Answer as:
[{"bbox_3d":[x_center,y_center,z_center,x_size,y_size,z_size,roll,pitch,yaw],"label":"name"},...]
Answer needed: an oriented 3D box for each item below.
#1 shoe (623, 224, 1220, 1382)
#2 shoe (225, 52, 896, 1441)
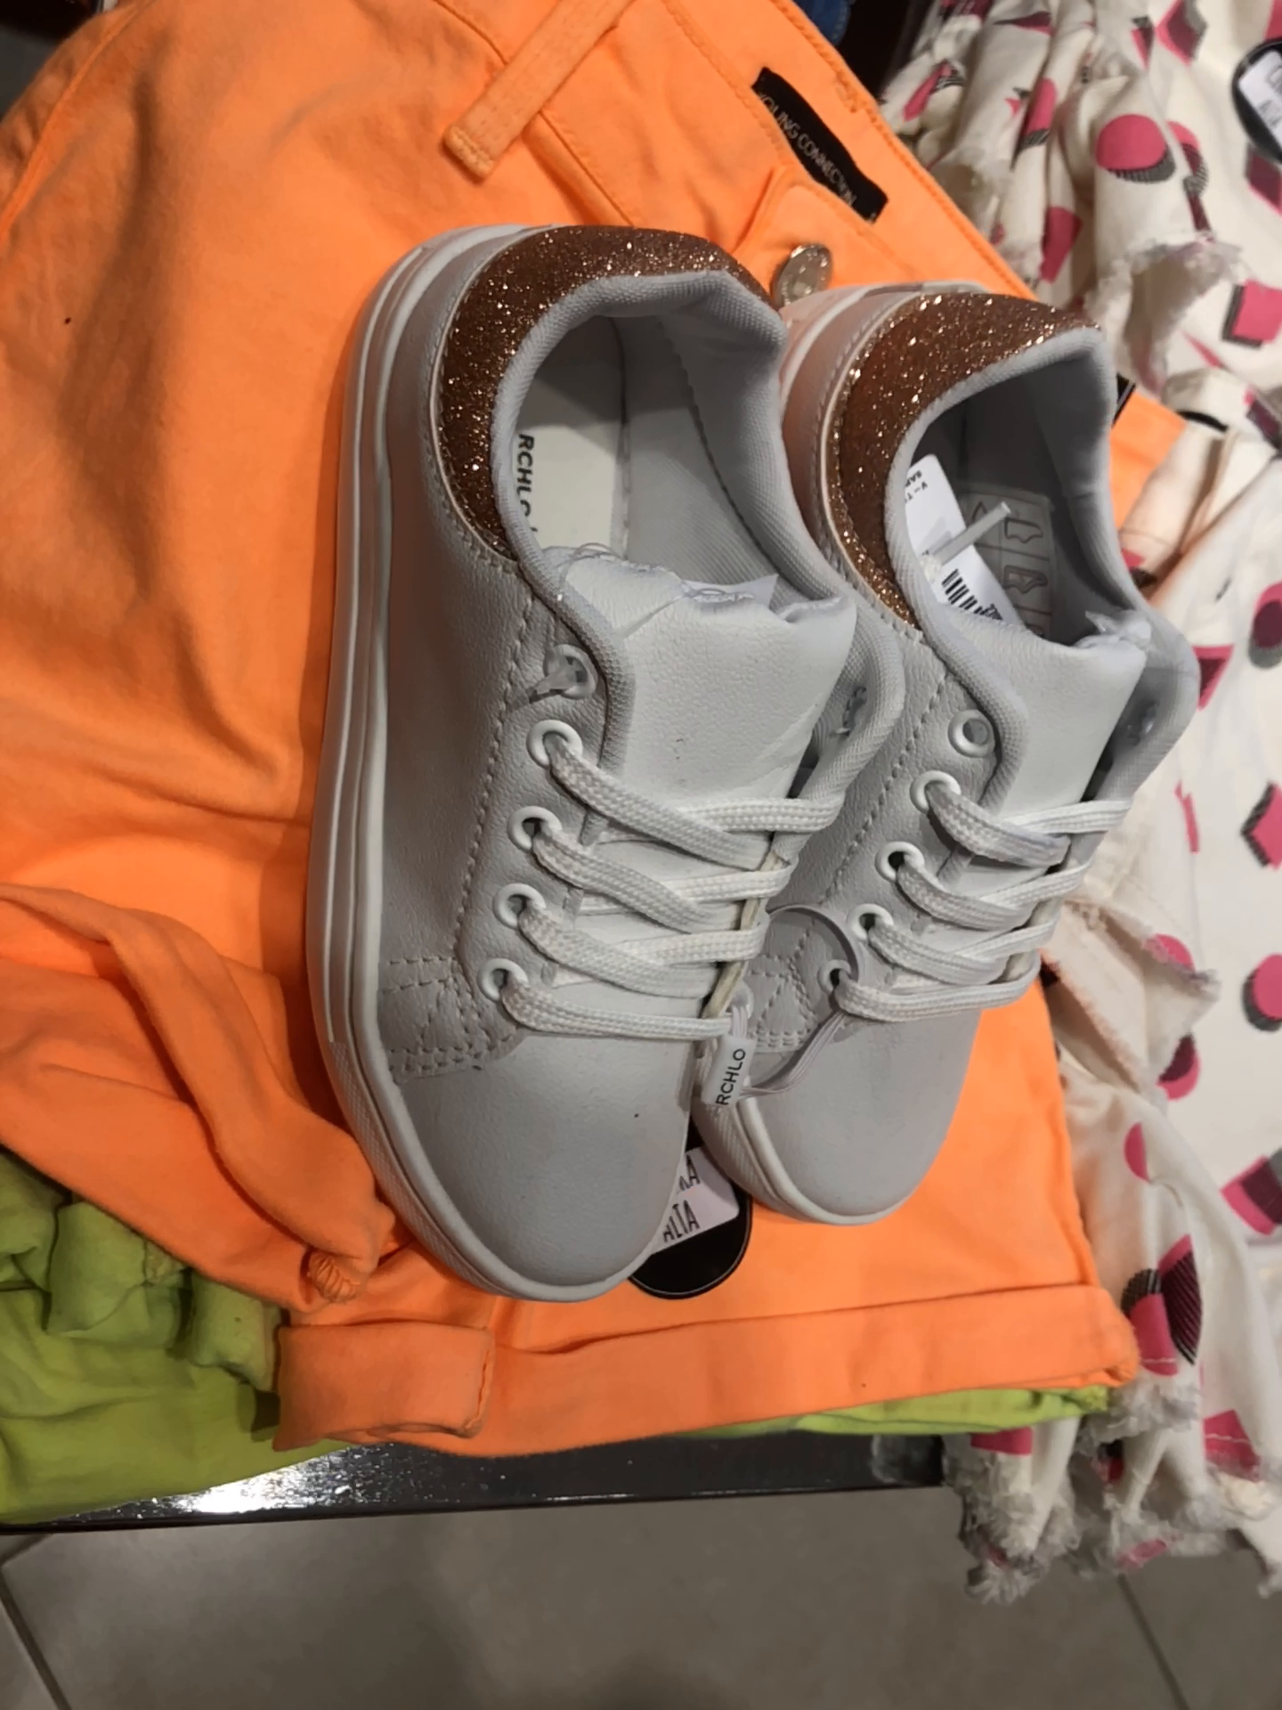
[{"bbox_3d":[0.052,-0.010,0.304,0.080,0.070,0.210,-4,105,-28],"label":"shoe"},{"bbox_3d":[-0.019,-0.016,0.267,0.080,0.070,0.210,-3,104,-41],"label":"shoe"}]
